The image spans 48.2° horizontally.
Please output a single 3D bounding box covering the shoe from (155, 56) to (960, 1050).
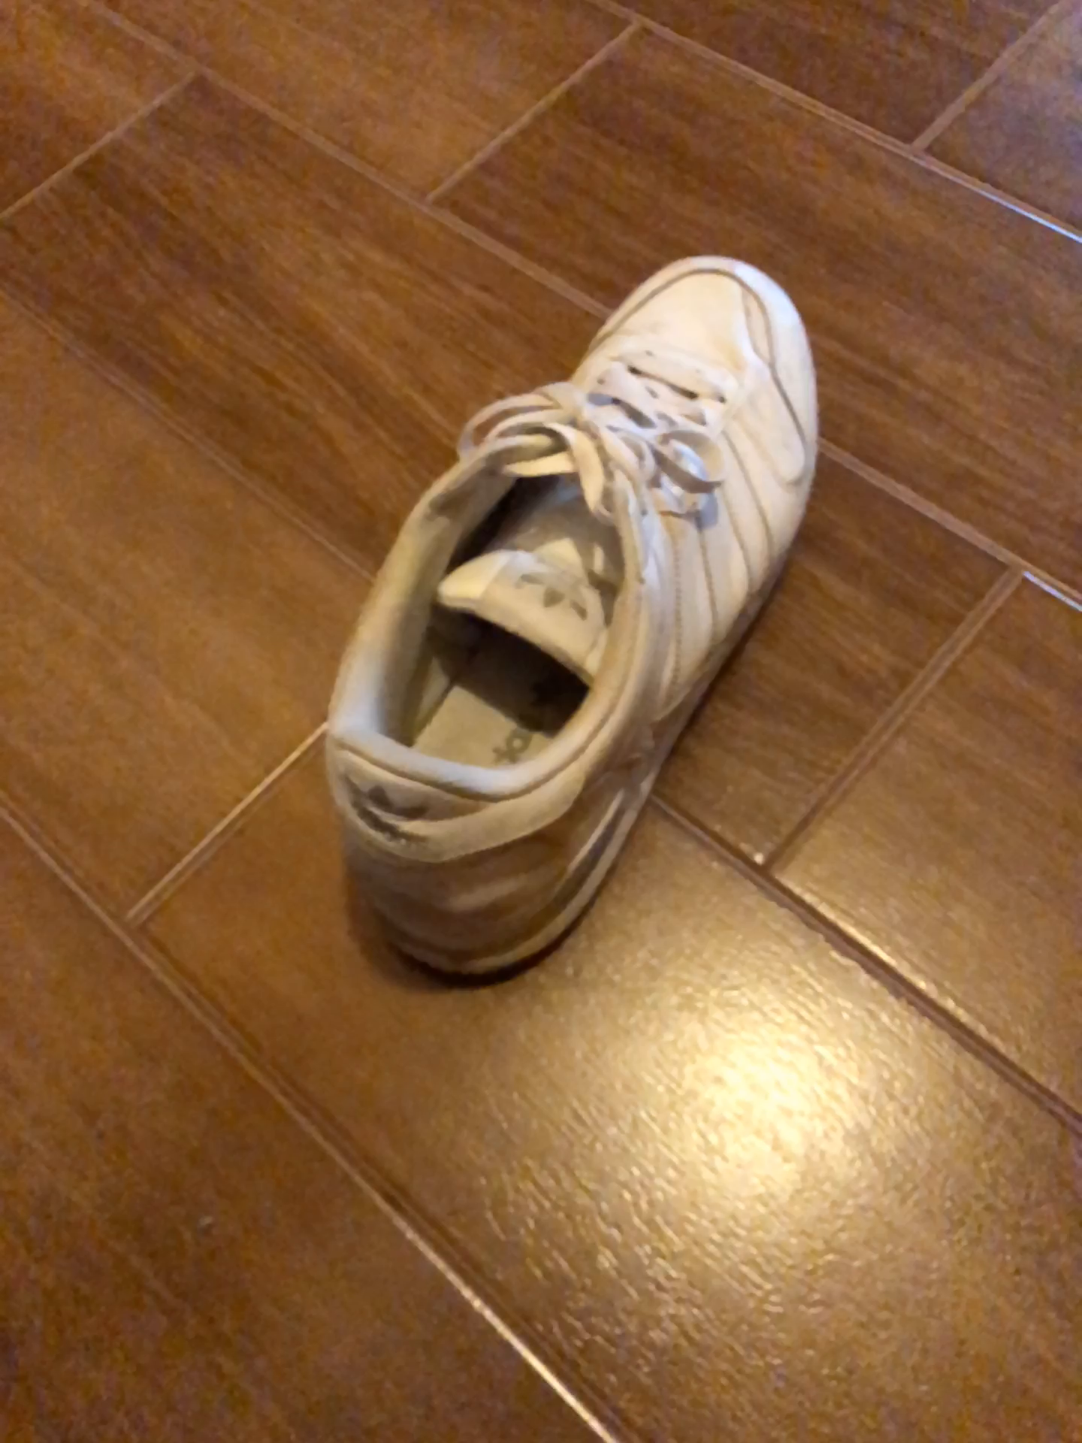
[{"bbox_3d":[0.023,-0.066,0.421,0.120,0.120,0.311,23,68,15],"label":"shoe"}]
